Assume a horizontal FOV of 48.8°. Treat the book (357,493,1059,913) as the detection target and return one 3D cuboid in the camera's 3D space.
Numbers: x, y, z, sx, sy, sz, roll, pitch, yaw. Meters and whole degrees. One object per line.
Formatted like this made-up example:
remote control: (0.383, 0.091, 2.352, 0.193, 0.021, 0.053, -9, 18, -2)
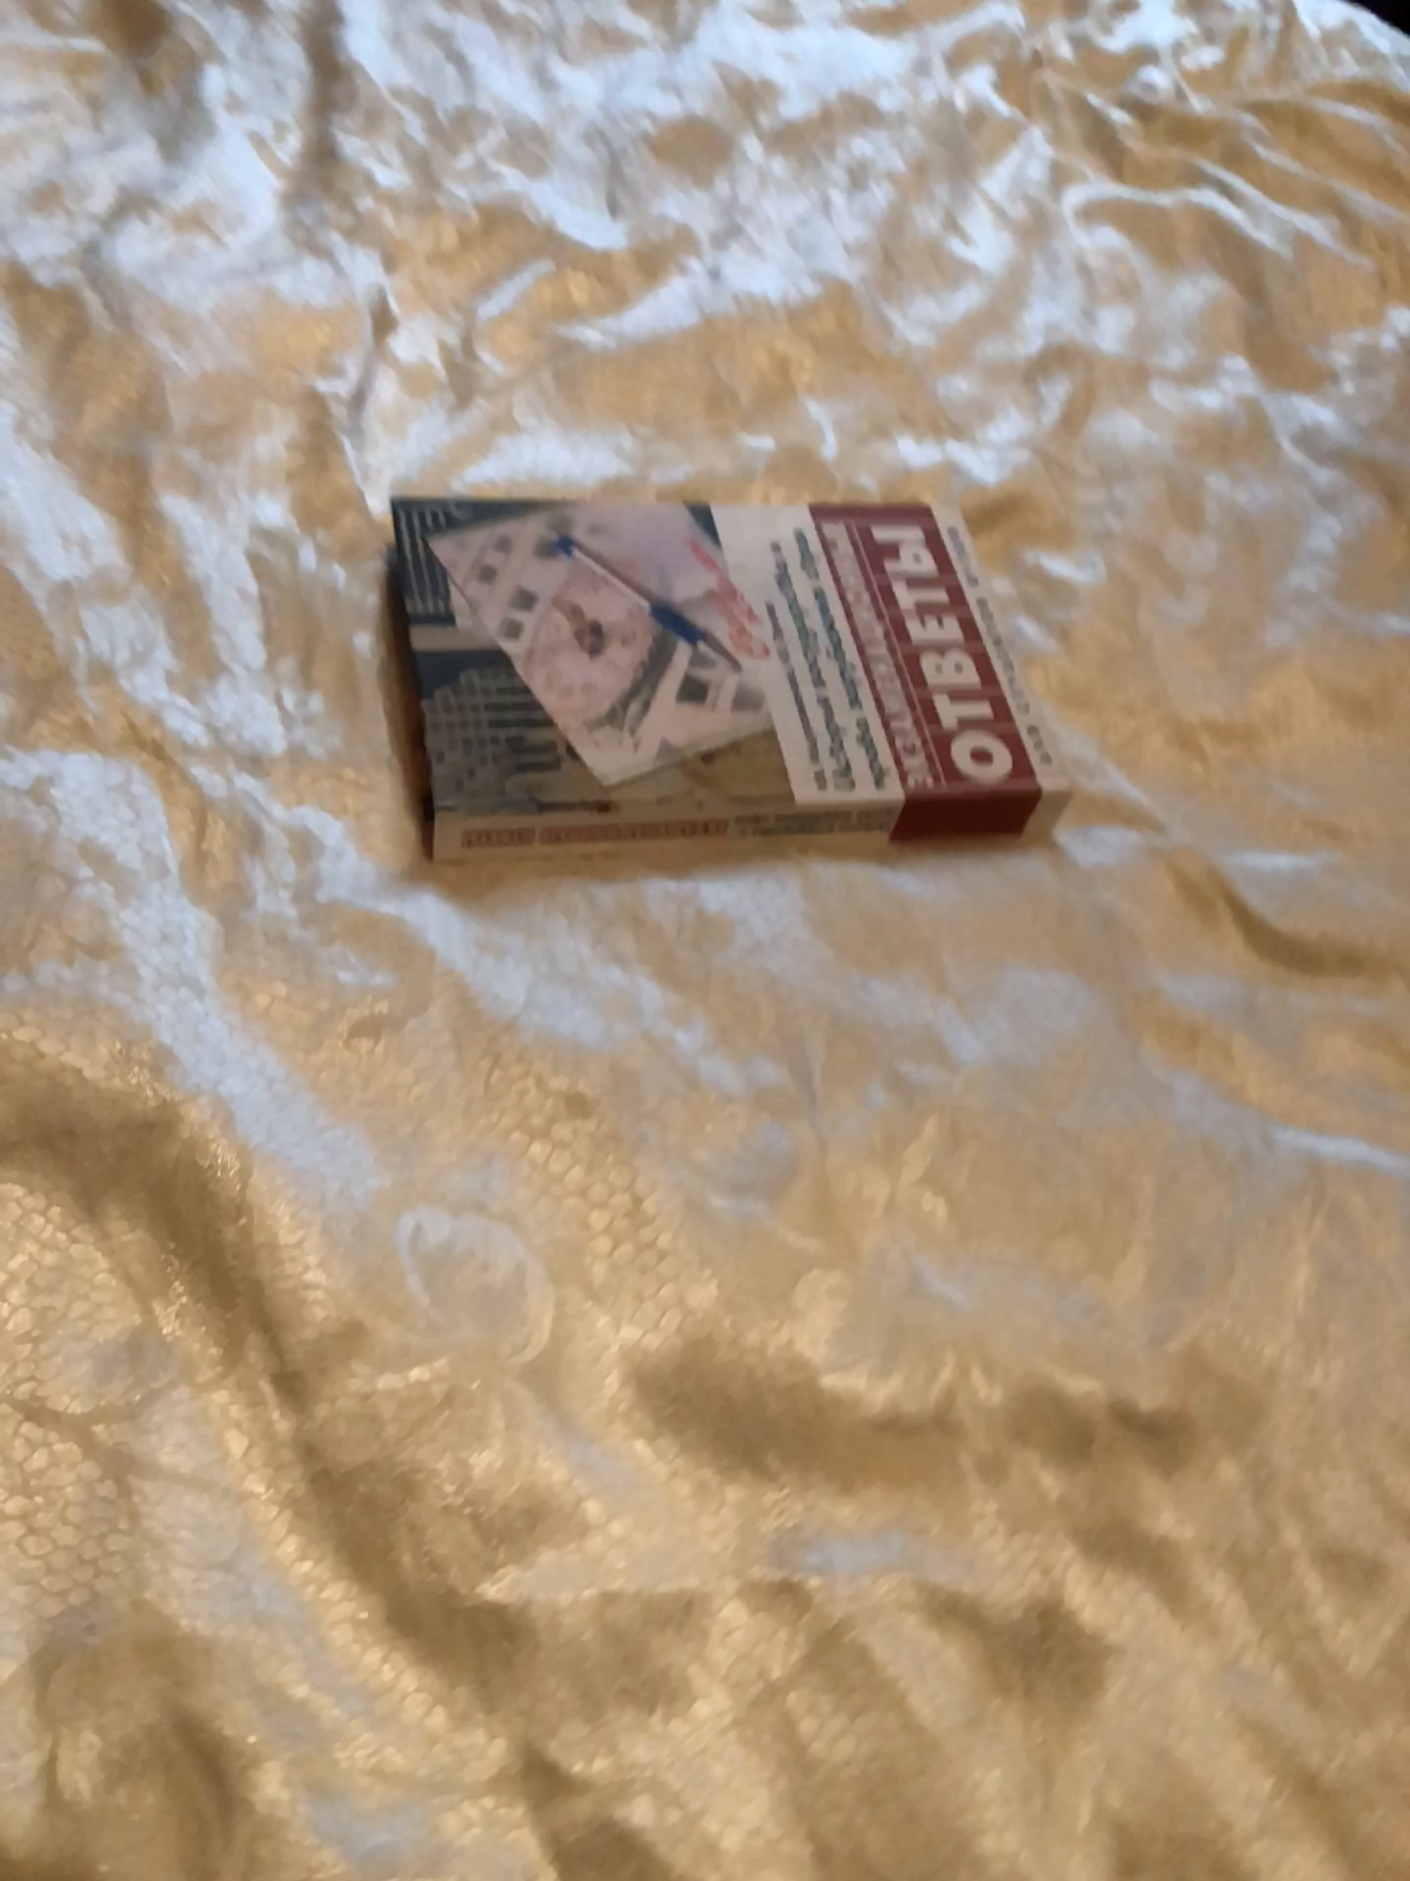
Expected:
book: (-0.004, -0.087, 0.526, 0.210, 0.030, 0.151, -4, 58, -15)
